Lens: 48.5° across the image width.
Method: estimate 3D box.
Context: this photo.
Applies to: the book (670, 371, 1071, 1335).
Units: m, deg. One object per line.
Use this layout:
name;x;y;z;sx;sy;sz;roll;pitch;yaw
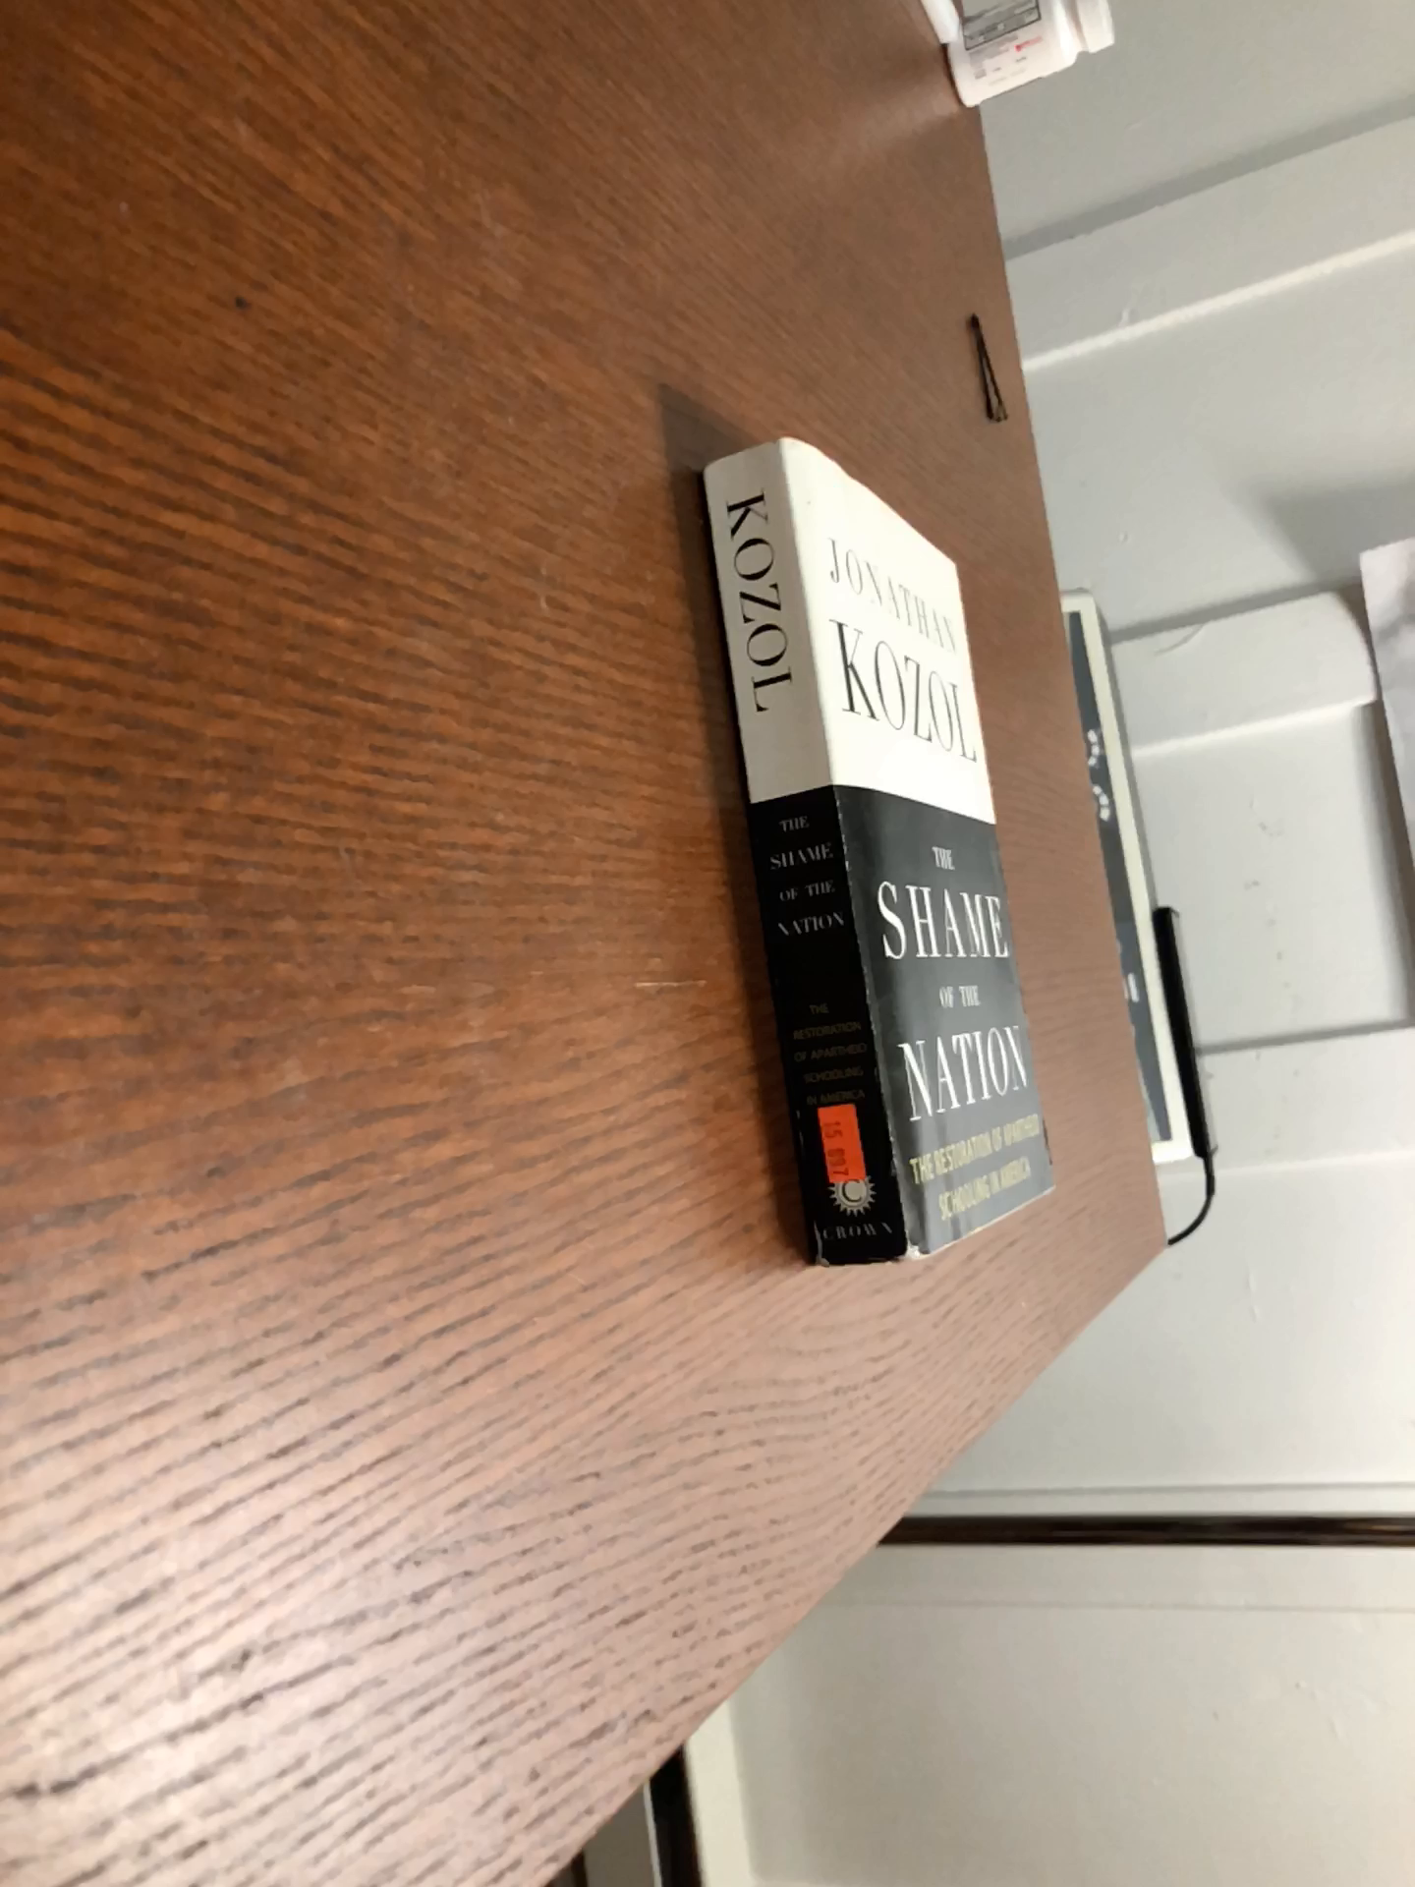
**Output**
book;0.054;-0.021;0.449;0.161;0.030;0.230;4;77;-64
